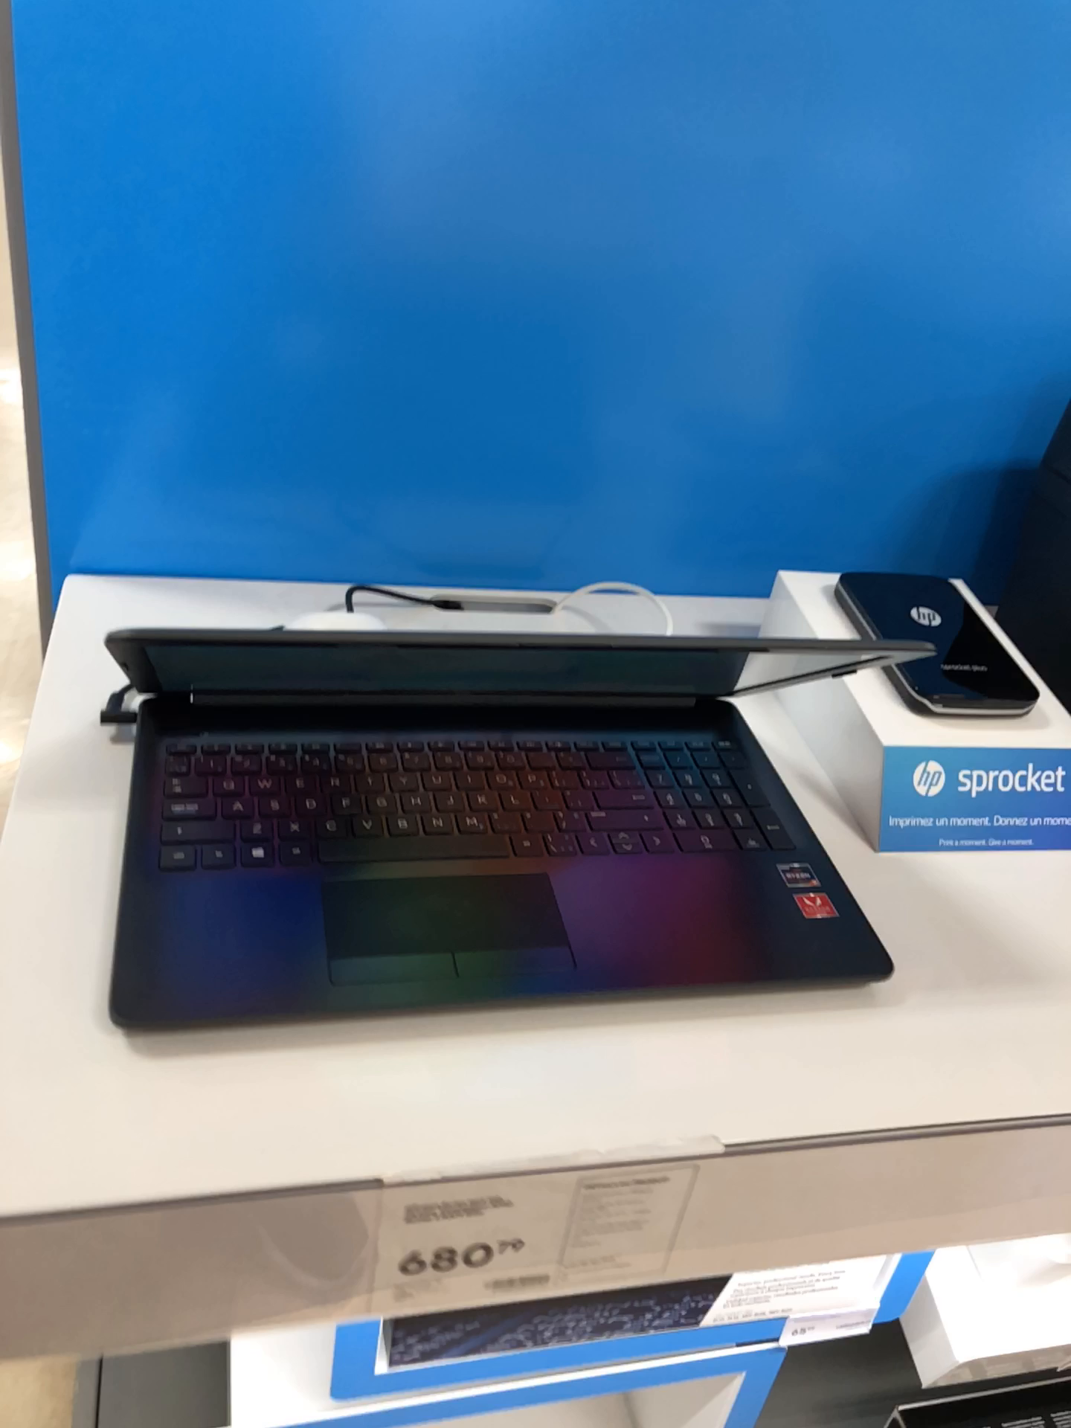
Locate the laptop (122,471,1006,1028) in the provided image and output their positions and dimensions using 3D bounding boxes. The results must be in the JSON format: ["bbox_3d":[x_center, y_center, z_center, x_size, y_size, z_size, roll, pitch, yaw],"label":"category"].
[{"bbox_3d":[-0.008,0.001,0.574,0.355,0.130,0.243,0,32,-18],"label":"laptop"}]
